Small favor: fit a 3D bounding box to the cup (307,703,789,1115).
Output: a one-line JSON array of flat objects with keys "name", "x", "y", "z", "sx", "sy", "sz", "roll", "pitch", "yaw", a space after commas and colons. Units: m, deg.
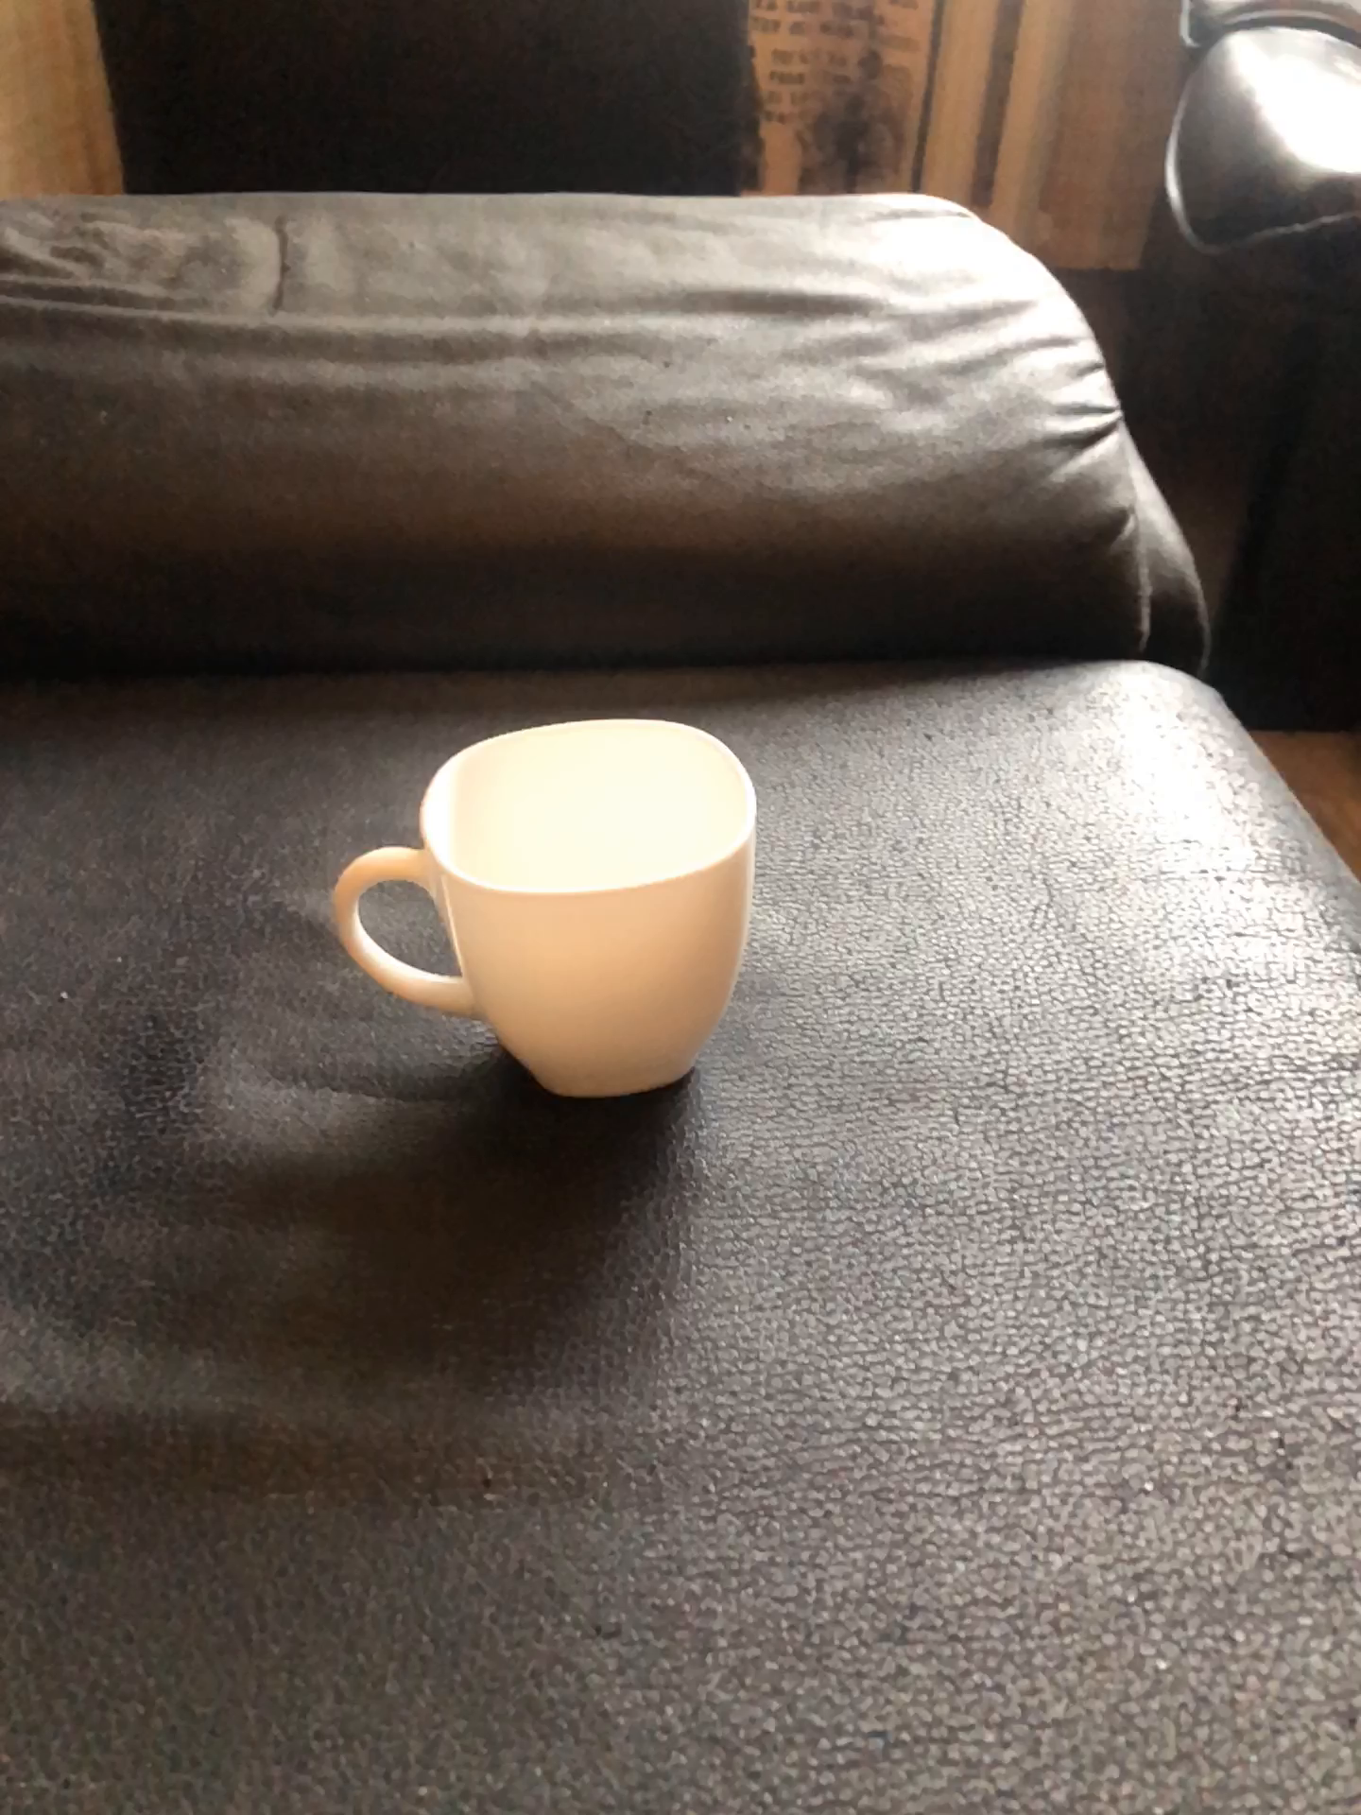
[{"name": "cup", "x": -0.029, "y": -0.002, "z": 0.365, "sx": 0.101, "sy": 0.063, "sz": 0.081, "roll": -2, "pitch": 35, "yaw": -2}]
